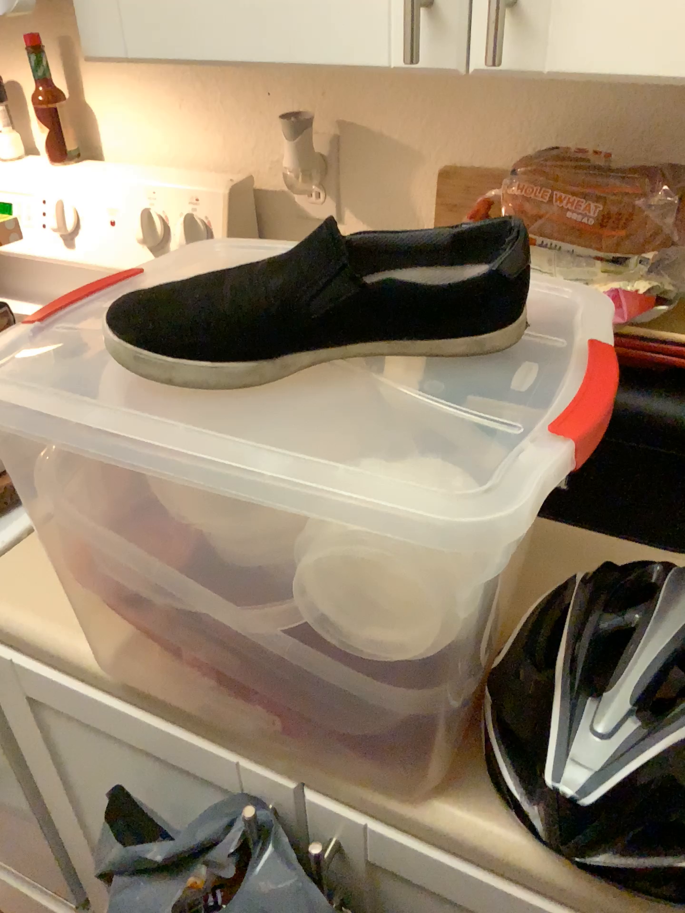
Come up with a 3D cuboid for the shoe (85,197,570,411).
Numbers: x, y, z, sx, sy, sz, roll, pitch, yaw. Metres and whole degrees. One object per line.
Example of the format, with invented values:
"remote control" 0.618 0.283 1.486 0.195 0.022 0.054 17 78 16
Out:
"shoe" -0.011 -0.101 0.478 0.270 0.070 0.100 -8 35 -8
